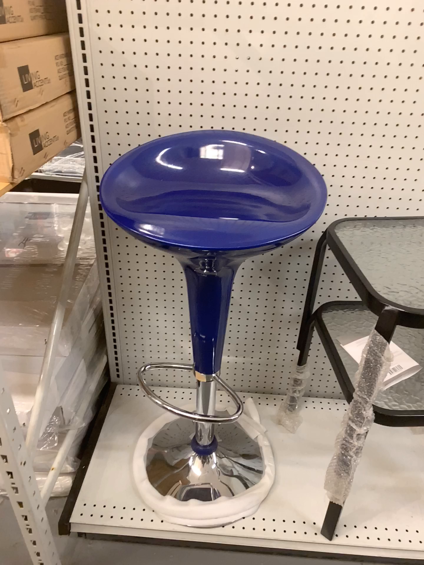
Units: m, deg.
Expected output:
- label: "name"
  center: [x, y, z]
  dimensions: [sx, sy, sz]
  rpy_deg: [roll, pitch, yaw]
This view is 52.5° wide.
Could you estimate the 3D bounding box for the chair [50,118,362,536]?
- label: "chair"
  center: [-0.010, 0.119, 0.995]
  dimensions: [0.434, 0.852, 0.419]
  rpy_deg: [3, 31, 2]
